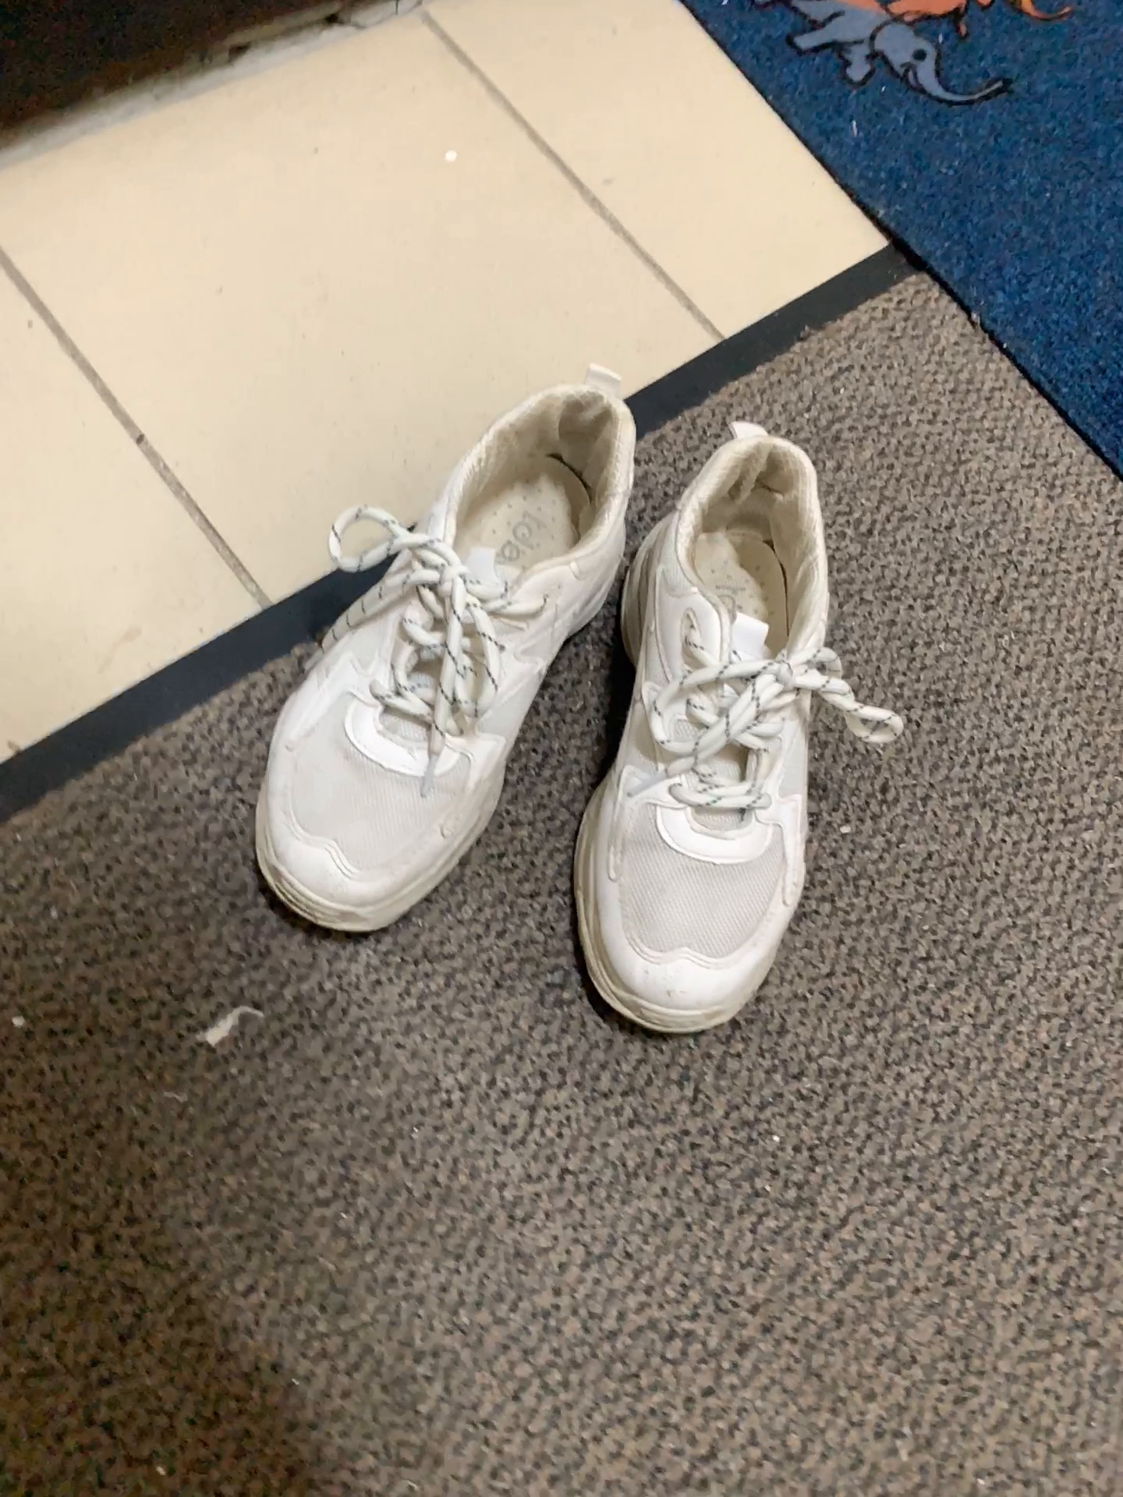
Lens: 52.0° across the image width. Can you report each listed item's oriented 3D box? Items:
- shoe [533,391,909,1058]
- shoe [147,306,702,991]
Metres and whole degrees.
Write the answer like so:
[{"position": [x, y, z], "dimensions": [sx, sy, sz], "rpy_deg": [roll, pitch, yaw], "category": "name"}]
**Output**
[{"position": [0.065, -0.004, 0.487], "dimensions": [0.100, 0.140, 0.230], "rpy_deg": [12, 66, -4], "category": "shoe"}, {"position": [-0.049, -0.038, 0.481], "dimensions": [0.100, 0.140, 0.230], "rpy_deg": [28, 66, 3], "category": "shoe"}]
